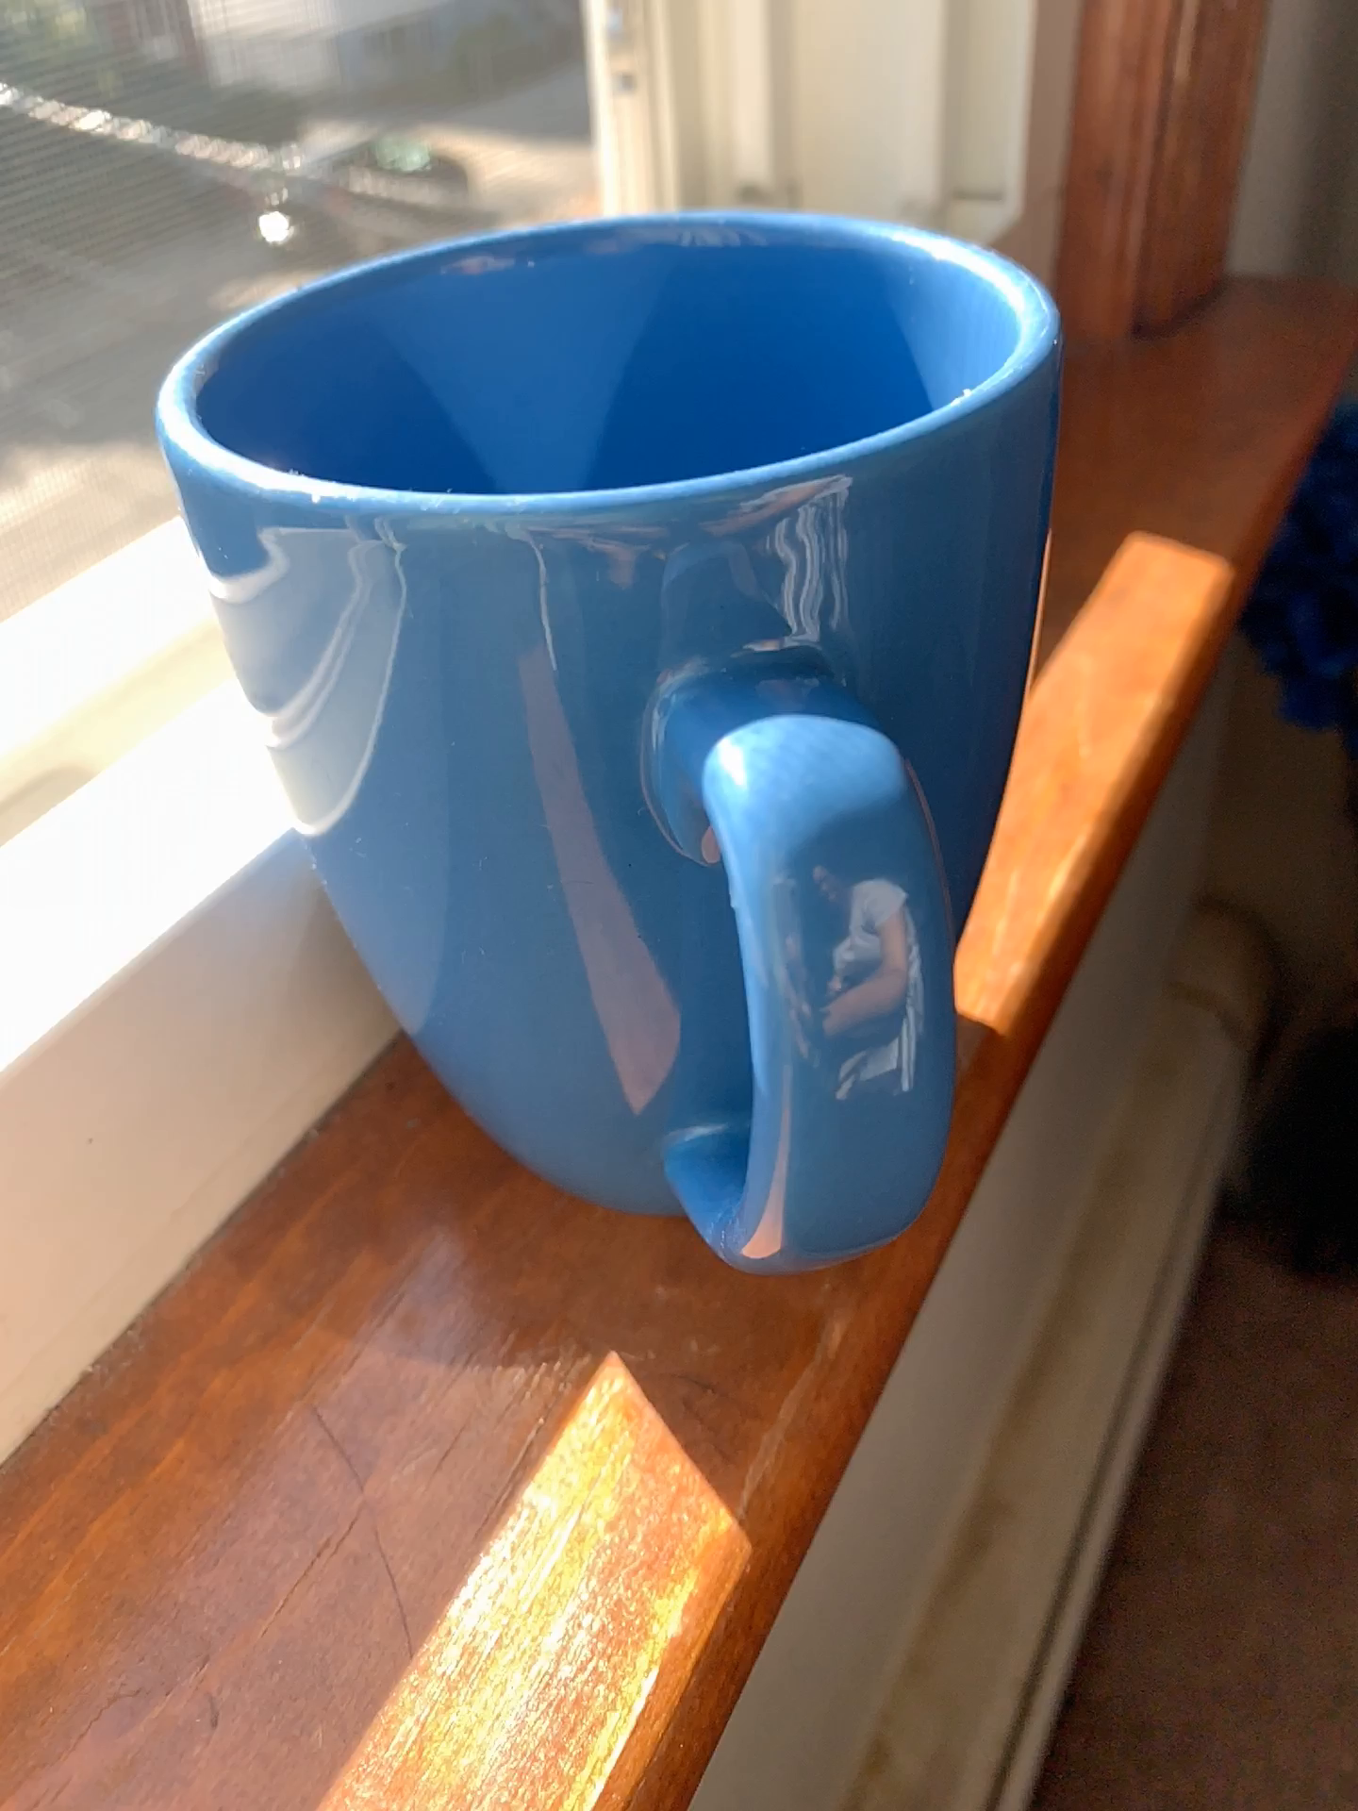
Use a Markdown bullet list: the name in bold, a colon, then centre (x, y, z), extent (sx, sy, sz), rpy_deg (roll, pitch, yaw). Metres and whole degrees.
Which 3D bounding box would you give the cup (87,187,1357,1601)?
- **cup**: centre (-0.002, -0.011, 0.159), extent (0.081, 0.095, 0.114), rpy_deg (-9, 38, -8)
